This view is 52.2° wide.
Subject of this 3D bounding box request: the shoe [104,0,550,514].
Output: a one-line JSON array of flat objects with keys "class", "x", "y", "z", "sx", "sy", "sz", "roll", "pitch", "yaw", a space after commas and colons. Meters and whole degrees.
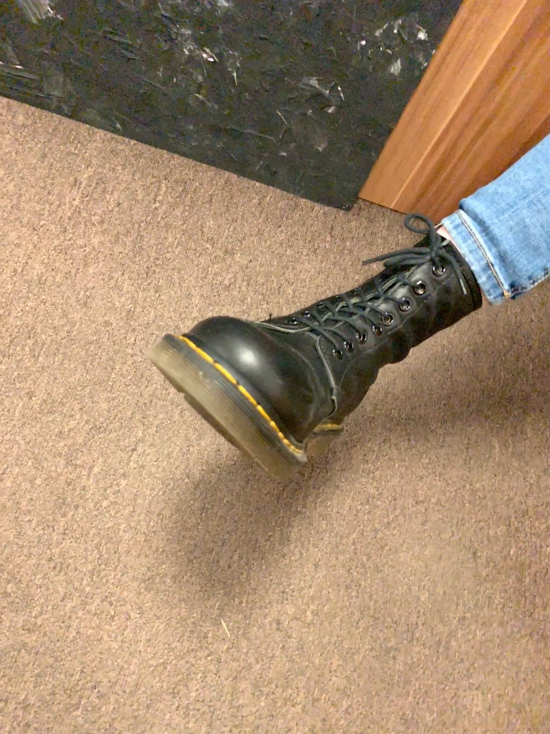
[{"class": "shoe", "x": 0.070, "y": -0.048, "z": 0.432, "sx": 0.230, "sy": 0.370, "sz": 0.120, "roll": -41, "pitch": 83, "yaw": 4}]
